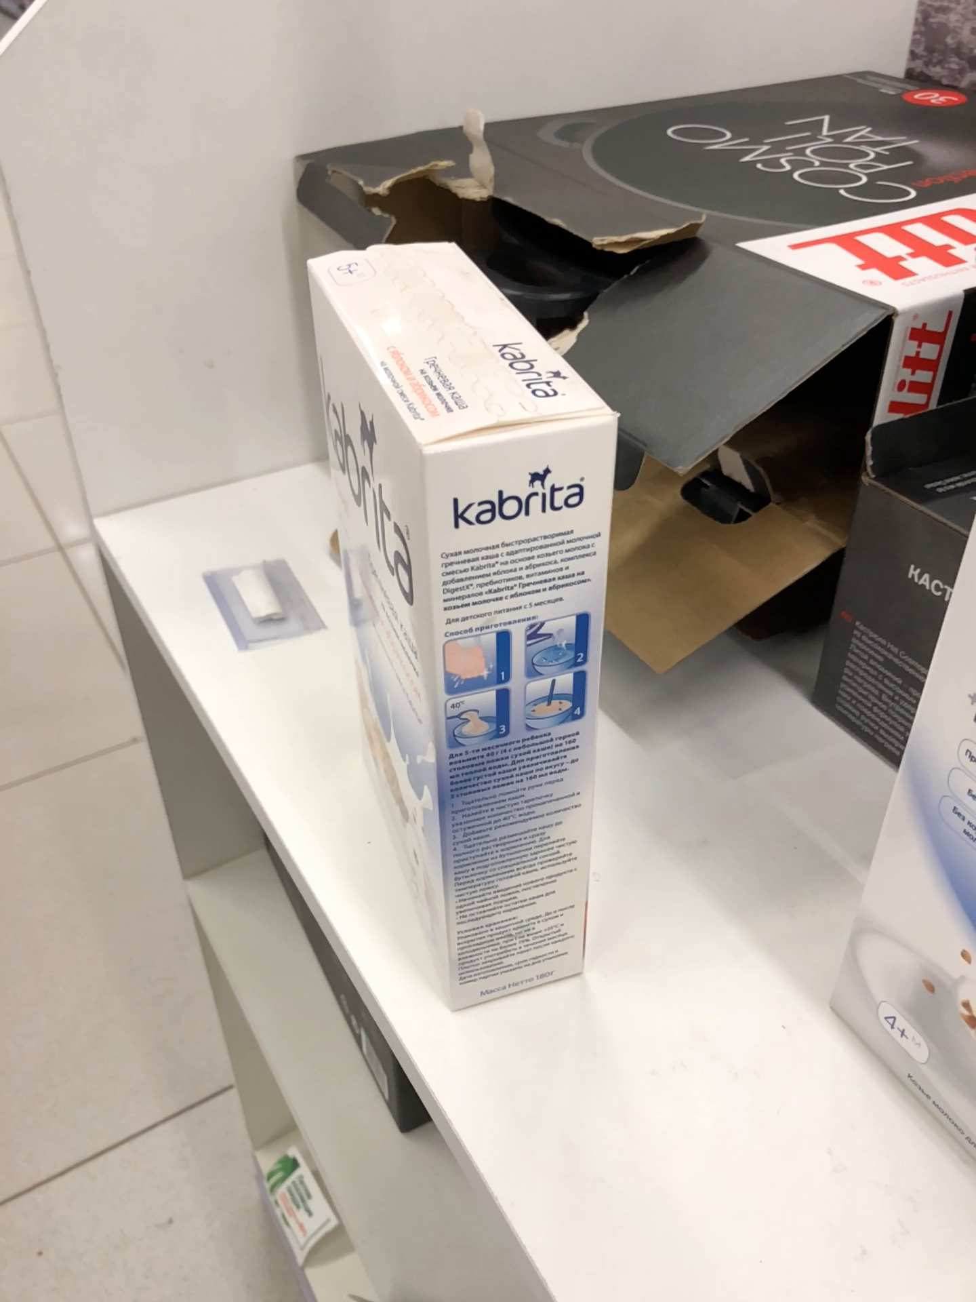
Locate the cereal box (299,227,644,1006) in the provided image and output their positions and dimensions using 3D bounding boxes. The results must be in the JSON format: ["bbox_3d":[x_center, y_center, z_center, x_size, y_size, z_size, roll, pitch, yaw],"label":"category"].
[{"bbox_3d":[-0.012,-0.011,0.346,0.050,0.199,0.141,-12,39,-15],"label":"cereal box"}]
